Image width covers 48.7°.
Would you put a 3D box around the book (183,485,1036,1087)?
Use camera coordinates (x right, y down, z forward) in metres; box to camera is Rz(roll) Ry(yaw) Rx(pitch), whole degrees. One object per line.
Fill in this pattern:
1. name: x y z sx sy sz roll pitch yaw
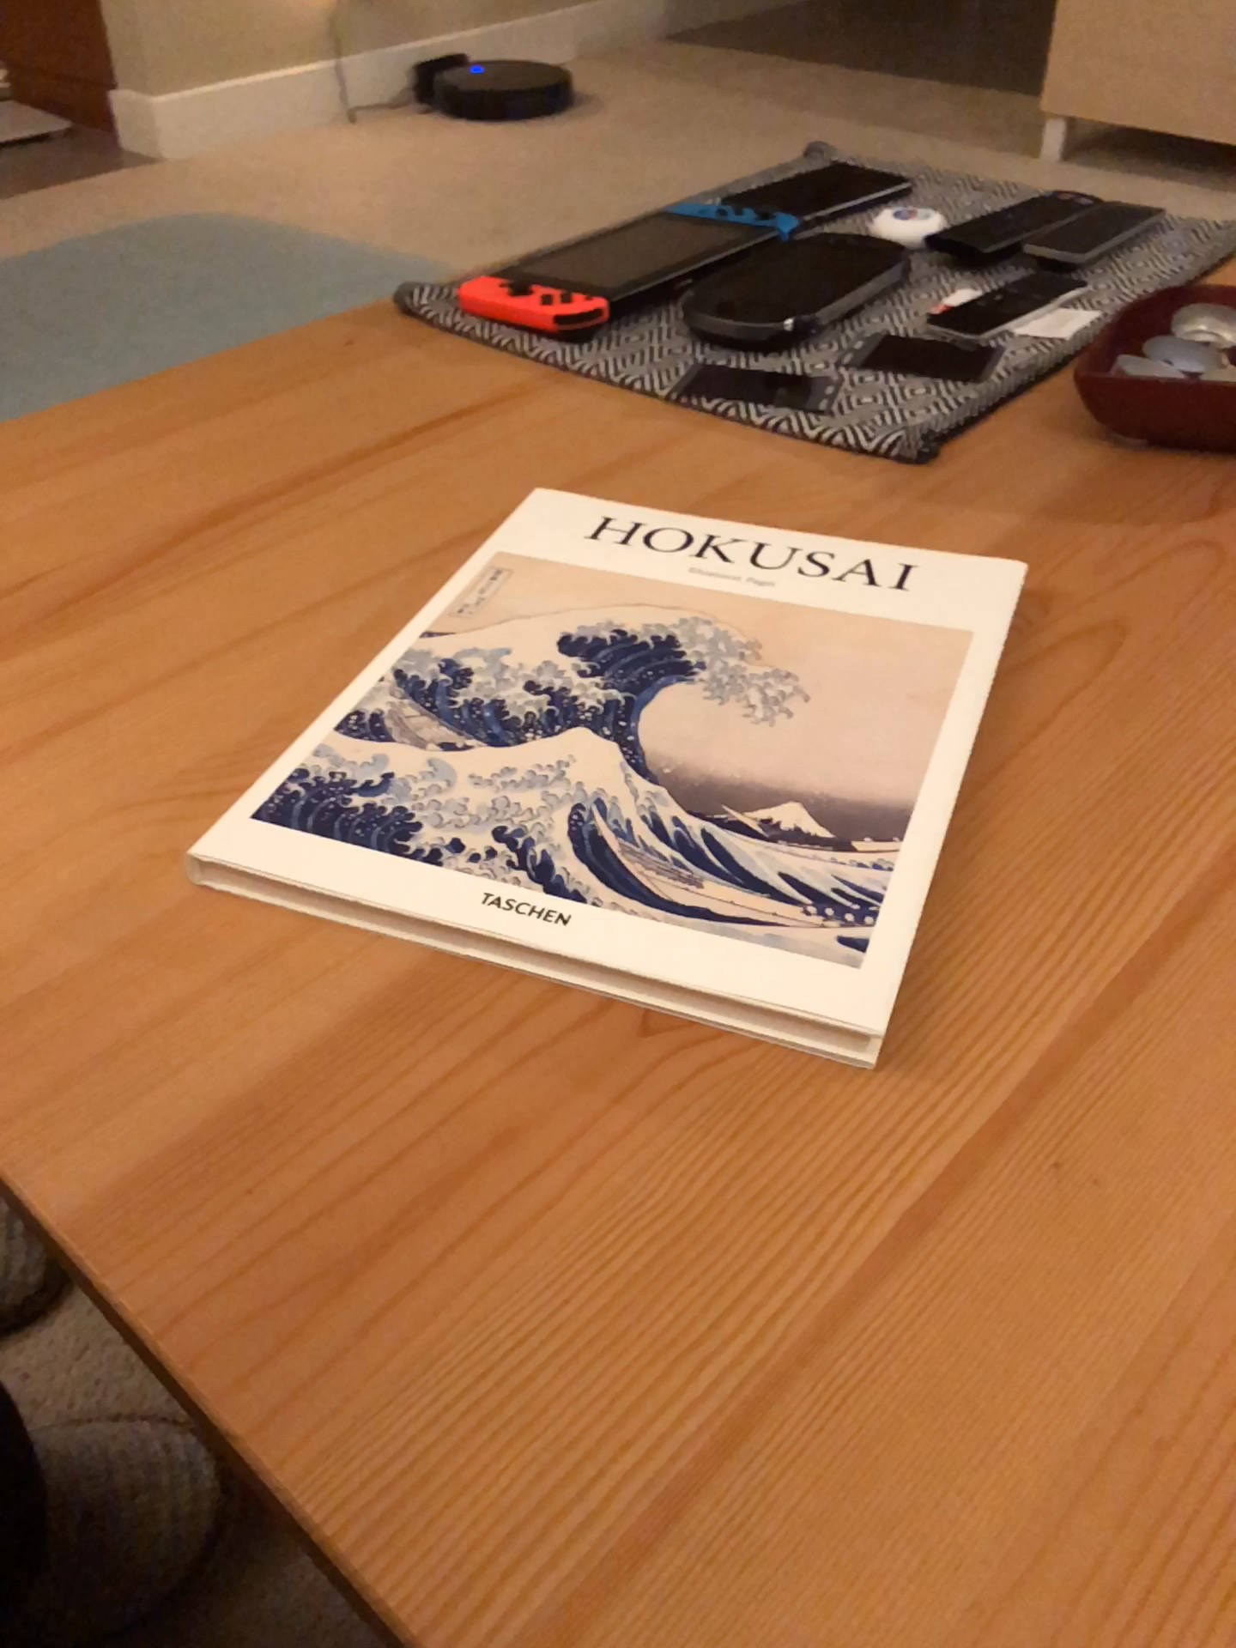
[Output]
1. book: 0.016 -0.038 0.467 0.210 0.020 0.253 13 41 17
